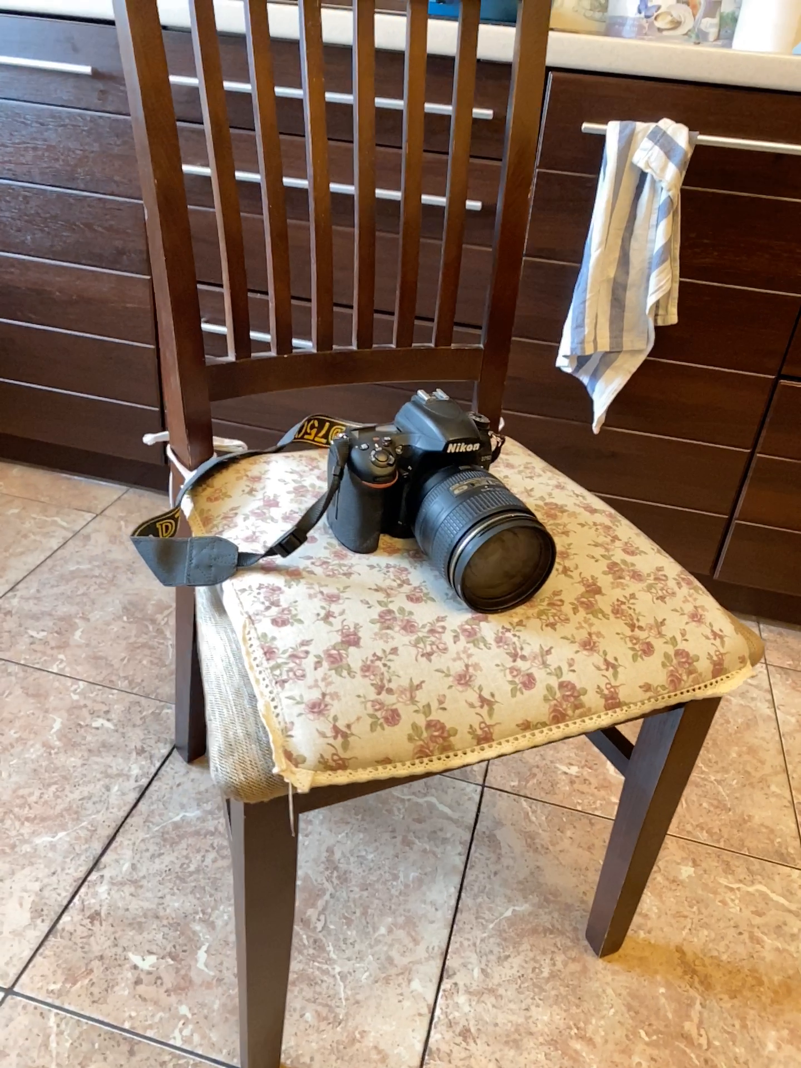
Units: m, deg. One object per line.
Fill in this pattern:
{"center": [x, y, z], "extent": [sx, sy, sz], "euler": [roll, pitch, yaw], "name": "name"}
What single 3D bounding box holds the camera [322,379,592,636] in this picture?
{"center": [0.033, -0.030, 0.634], "extent": [0.135, 0.119, 0.165], "euler": [-9, 33, -24], "name": "camera"}
